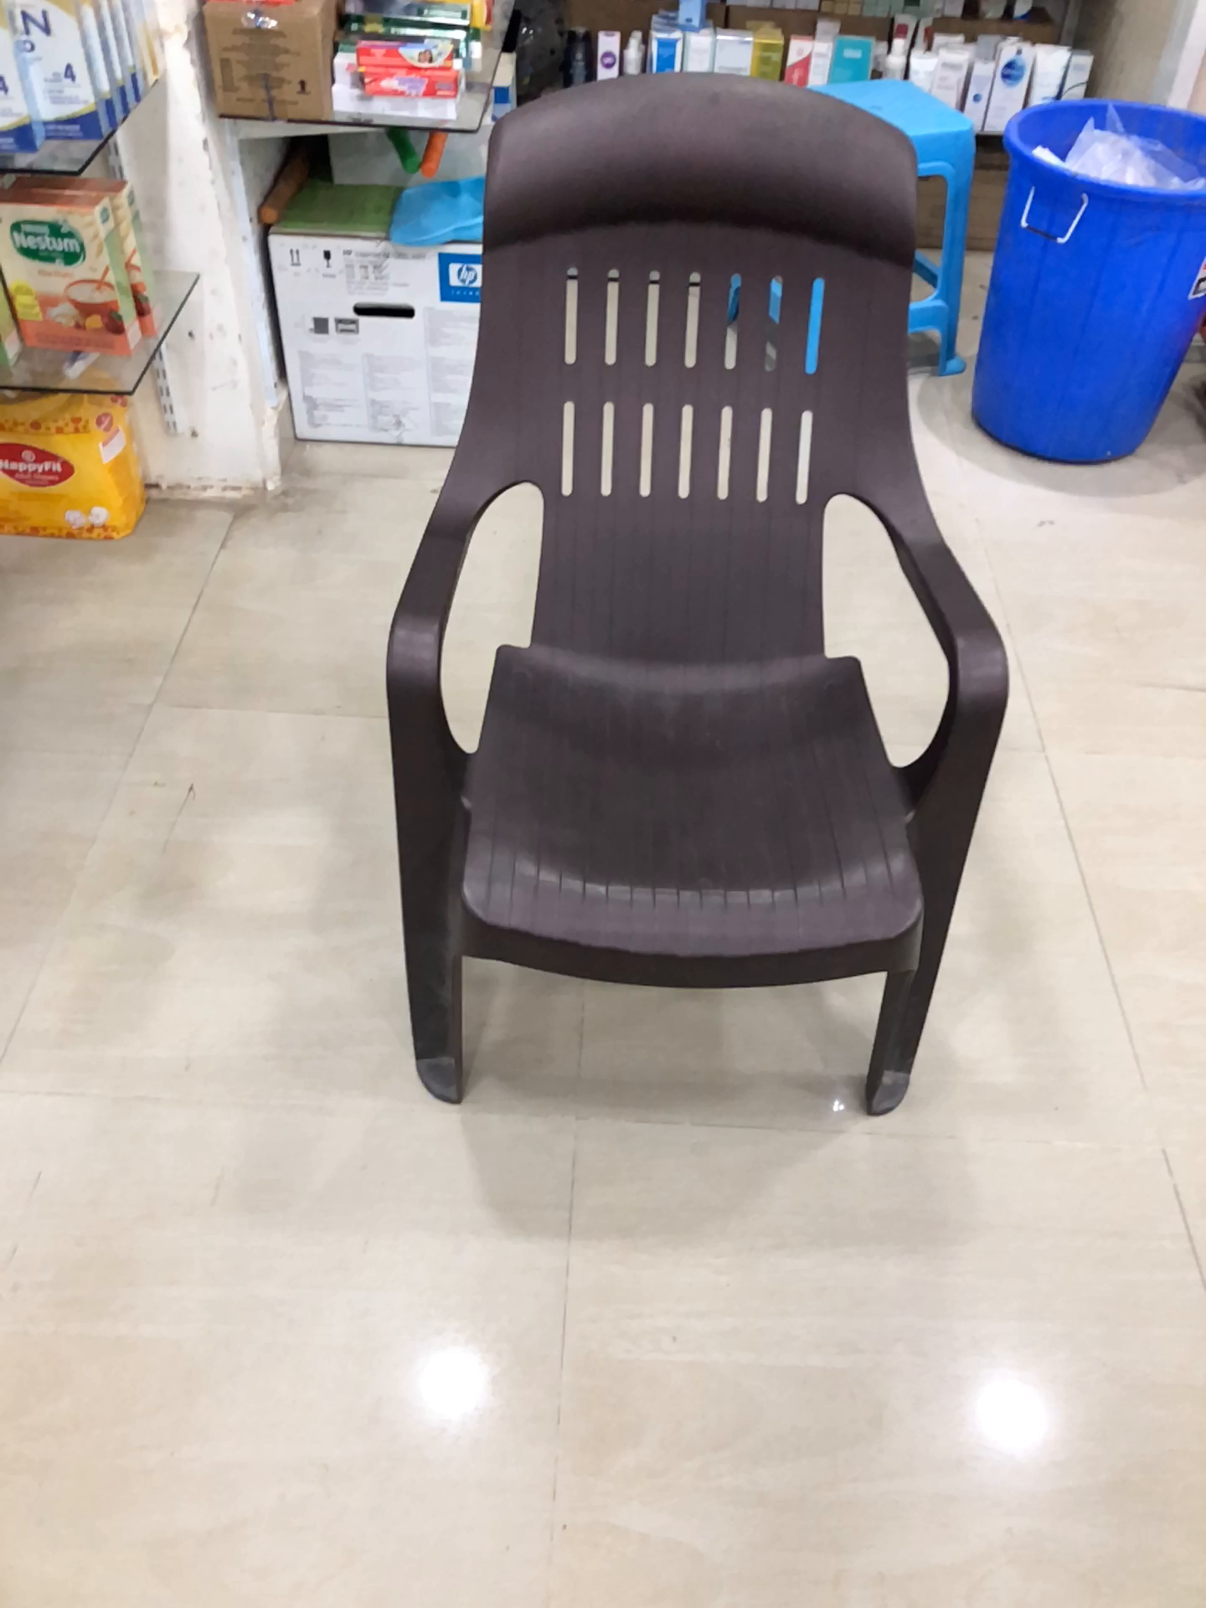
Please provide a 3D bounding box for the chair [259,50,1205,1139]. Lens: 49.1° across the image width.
[{"bbox_3d":[0.091,-0.195,1.360,0.630,0.844,0.685,2,44,-1],"label":"chair"}]
